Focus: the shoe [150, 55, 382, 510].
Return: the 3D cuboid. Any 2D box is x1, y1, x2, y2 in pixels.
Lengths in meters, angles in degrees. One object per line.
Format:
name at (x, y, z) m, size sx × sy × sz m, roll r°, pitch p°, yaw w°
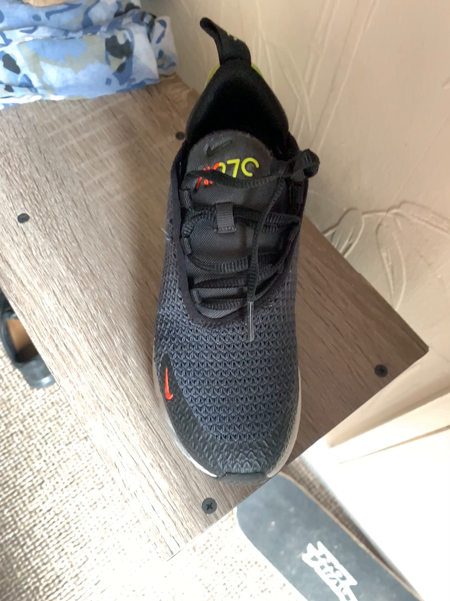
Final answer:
shoe at (0.012, -0.011, 0.281) m, size 0.090 × 0.110 × 0.248 m, roll 1°, pitch 66°, yaw -3°
